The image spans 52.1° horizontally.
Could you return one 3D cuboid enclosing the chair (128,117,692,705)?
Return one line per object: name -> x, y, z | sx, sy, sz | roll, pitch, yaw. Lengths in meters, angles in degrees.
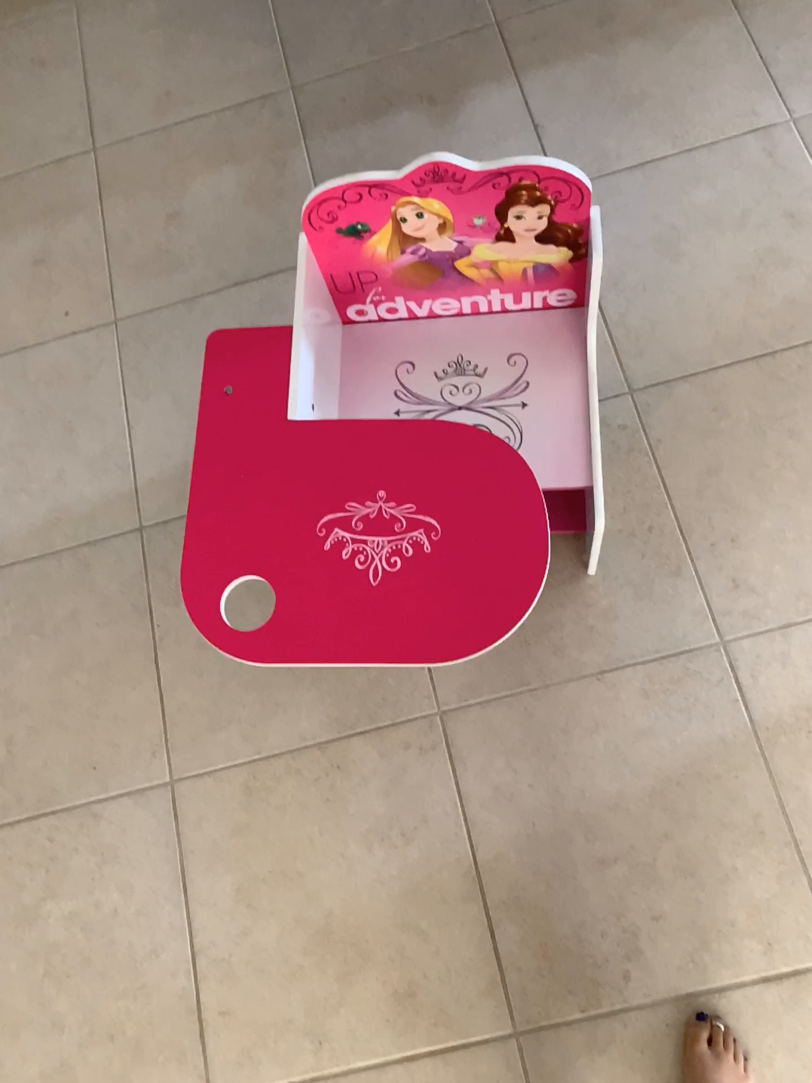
chair -> 0.030, -0.101, 1.130 | 0.531, 0.570, 0.550 | -4, 71, 8
